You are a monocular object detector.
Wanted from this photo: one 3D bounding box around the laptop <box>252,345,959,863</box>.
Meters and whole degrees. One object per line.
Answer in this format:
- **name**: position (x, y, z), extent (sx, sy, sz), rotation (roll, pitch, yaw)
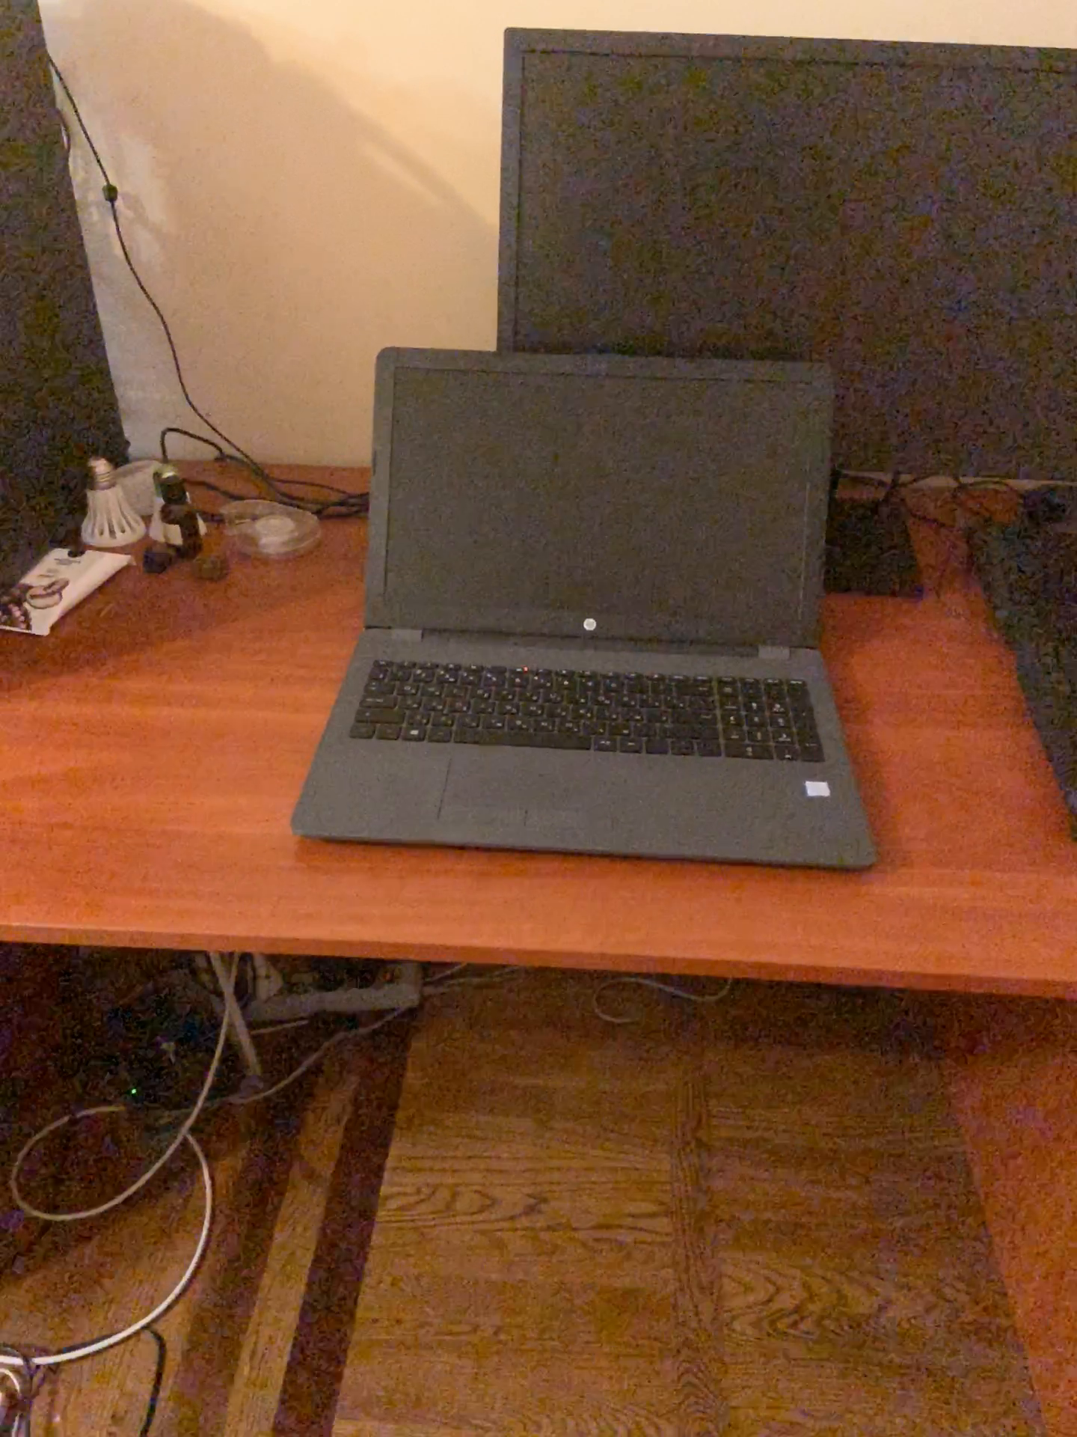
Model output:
- **laptop**: position (0.041, -0.109, 0.789), extent (0.372, 0.188, 0.394), rotation (3, 35, 1)
